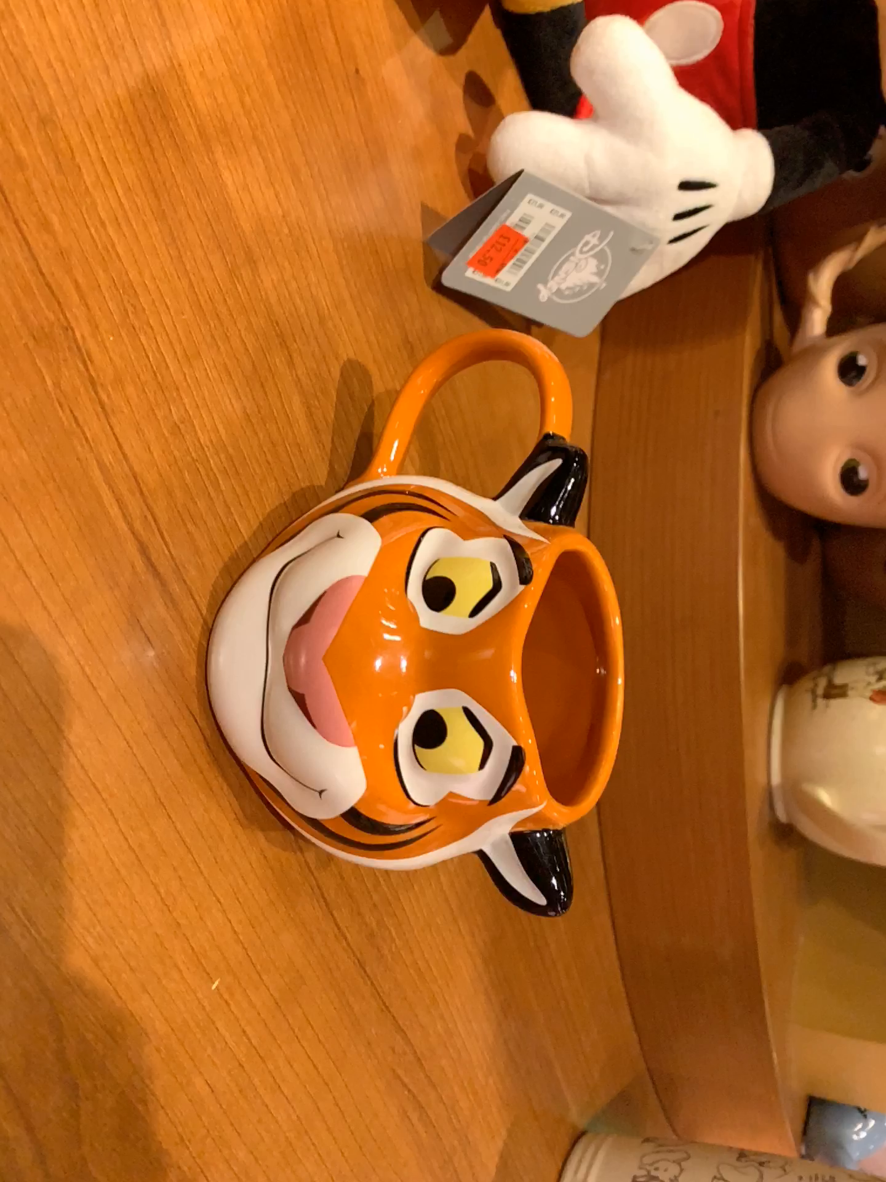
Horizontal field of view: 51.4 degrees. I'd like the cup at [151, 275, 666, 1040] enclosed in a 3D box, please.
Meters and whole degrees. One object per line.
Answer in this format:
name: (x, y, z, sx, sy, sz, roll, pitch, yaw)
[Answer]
cup: (0.000, 0.016, 0.247, 0.107, 0.087, 0.149, 13, 78, -59)
